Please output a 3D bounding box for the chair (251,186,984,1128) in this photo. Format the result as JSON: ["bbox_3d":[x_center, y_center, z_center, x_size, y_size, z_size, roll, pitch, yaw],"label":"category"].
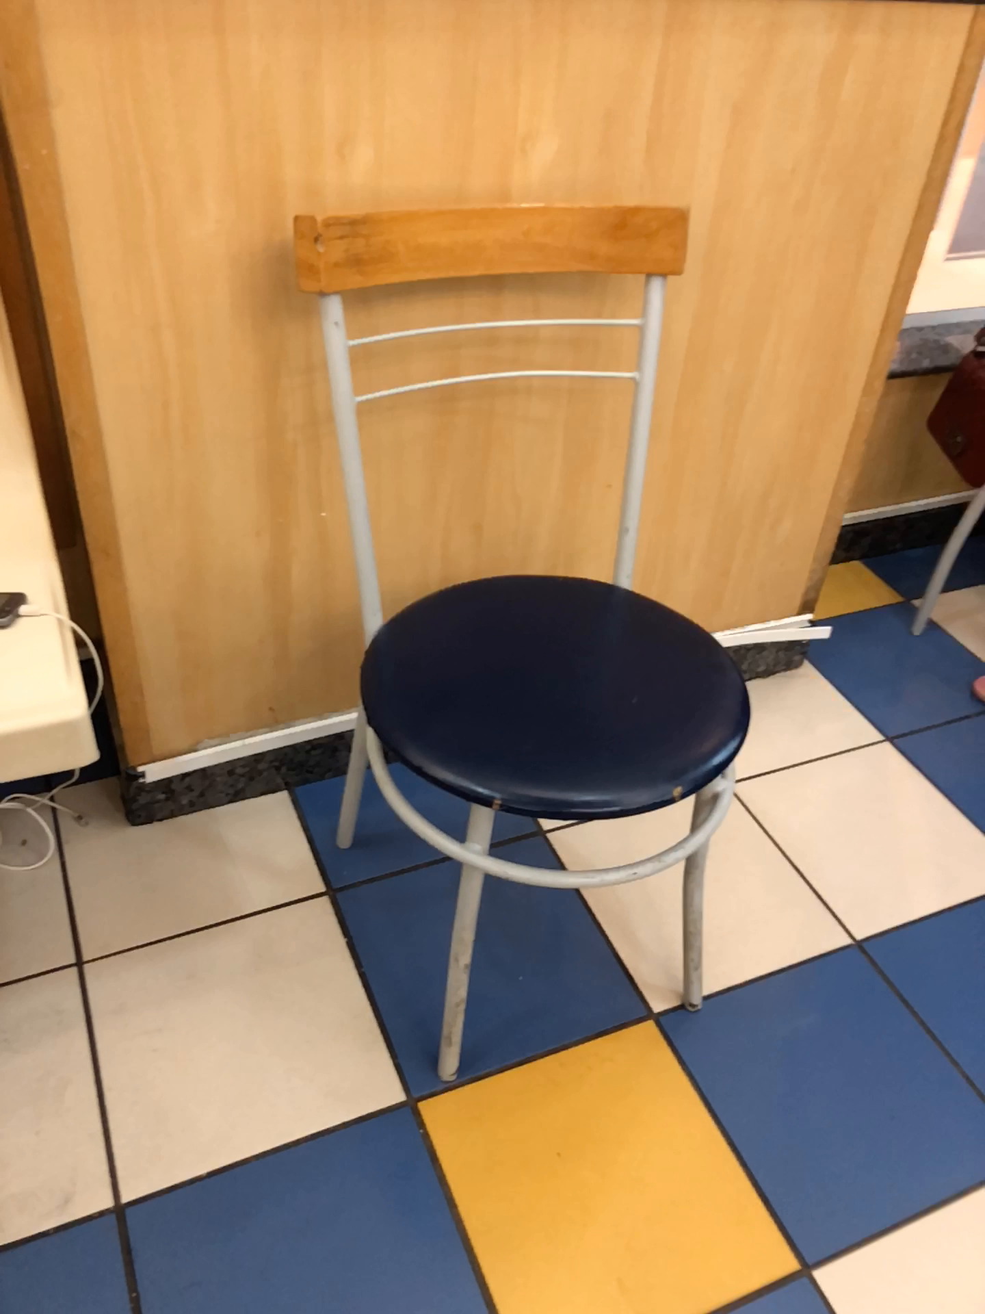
[{"bbox_3d":[0.050,-0.016,1.122,0.441,0.744,0.523,-11,40,-20],"label":"chair"}]
